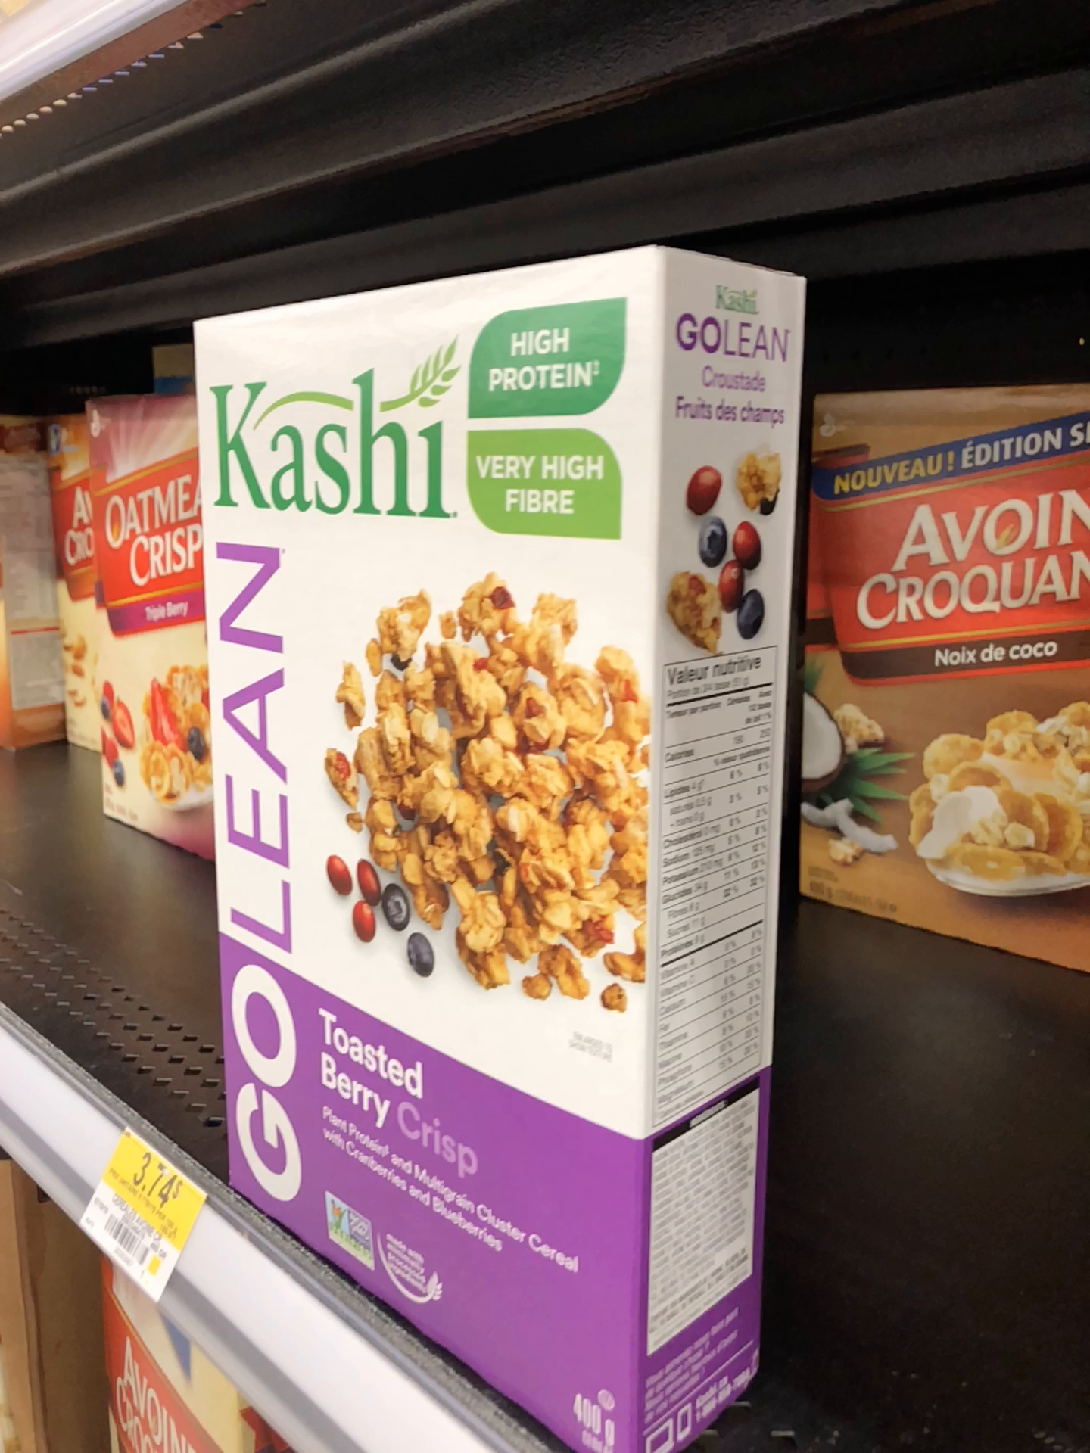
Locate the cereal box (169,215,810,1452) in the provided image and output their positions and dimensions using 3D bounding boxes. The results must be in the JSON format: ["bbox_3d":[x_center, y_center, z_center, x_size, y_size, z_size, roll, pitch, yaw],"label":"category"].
[{"bbox_3d":[-0.024,0.025,0.315,0.170,0.269,0.050,11,16,43],"label":"cereal box"}]
